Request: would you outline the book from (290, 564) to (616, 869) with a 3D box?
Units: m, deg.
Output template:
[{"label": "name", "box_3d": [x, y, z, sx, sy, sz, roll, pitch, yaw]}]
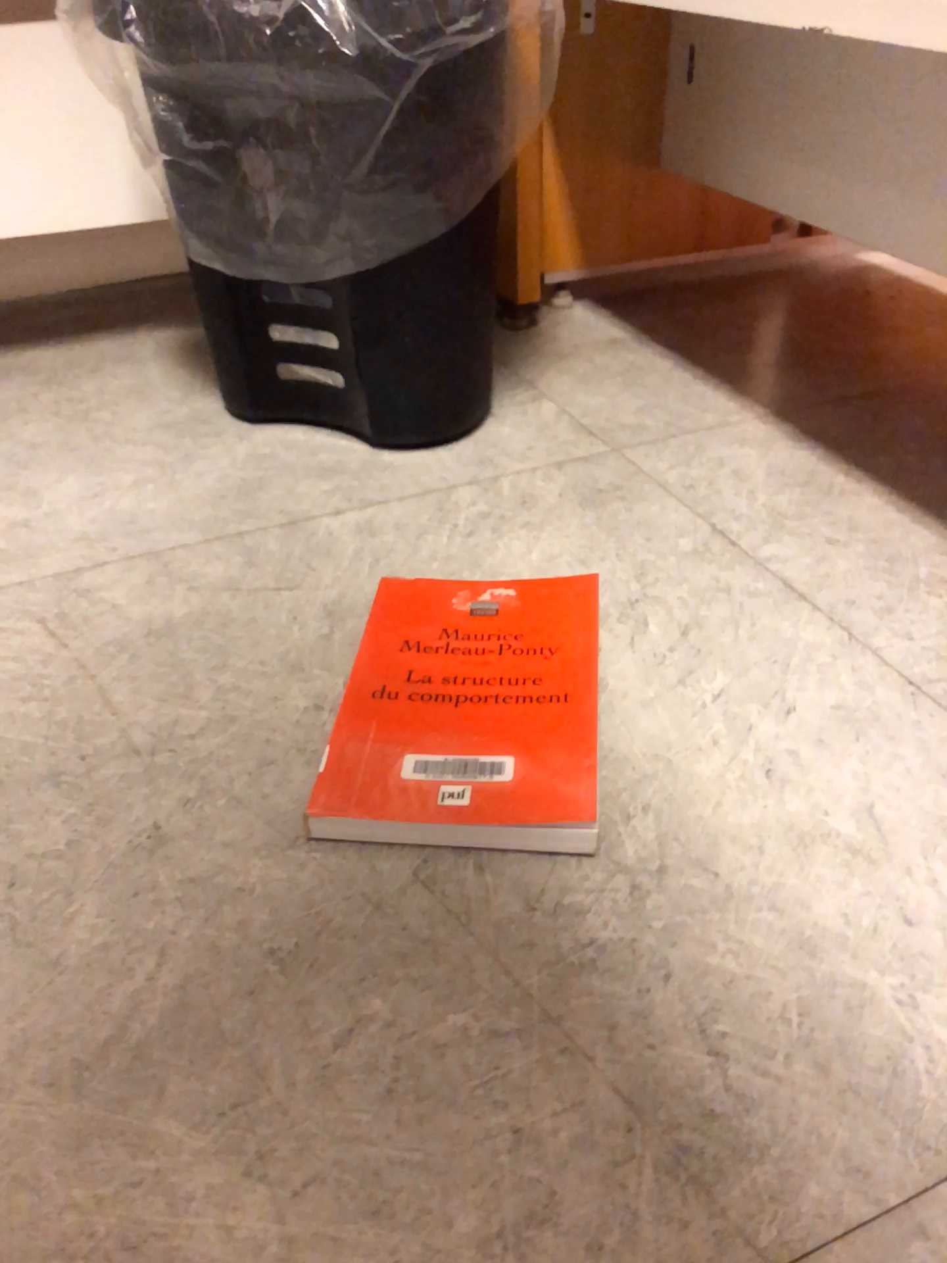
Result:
[{"label": "book", "box_3d": [0.001, 0.030, 0.517, 0.135, 0.020, 0.201, 3, 35, 5]}]
